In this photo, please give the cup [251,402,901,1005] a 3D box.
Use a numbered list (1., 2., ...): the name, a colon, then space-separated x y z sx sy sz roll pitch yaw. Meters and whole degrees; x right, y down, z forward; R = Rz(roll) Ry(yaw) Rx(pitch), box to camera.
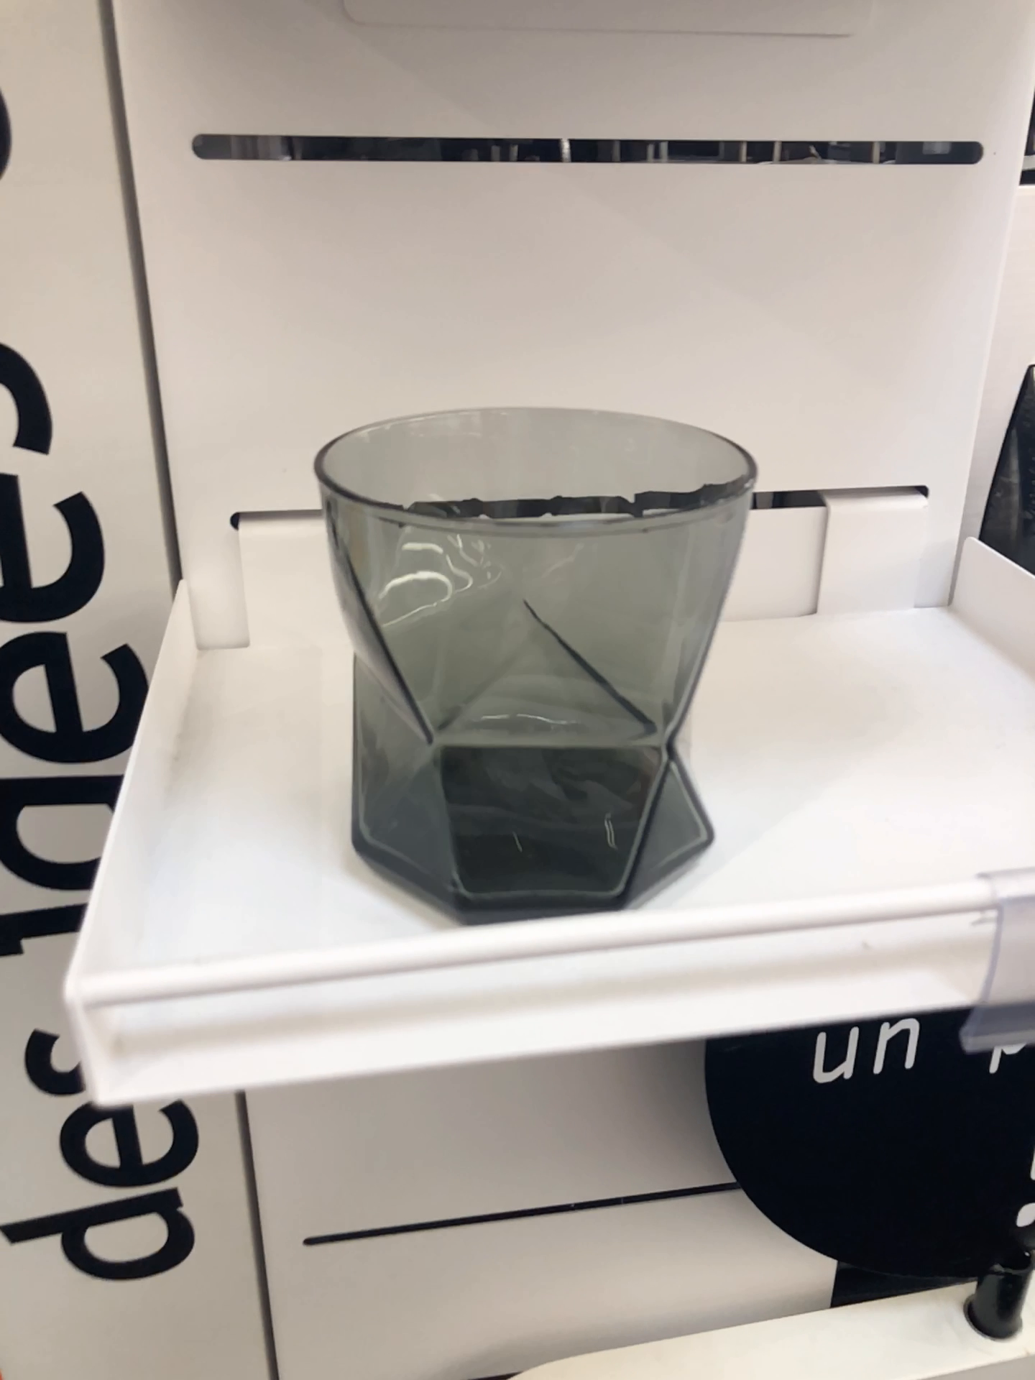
1. cup: 0.007 -0.008 0.239 0.094 0.080 0.089 1 25 -1
